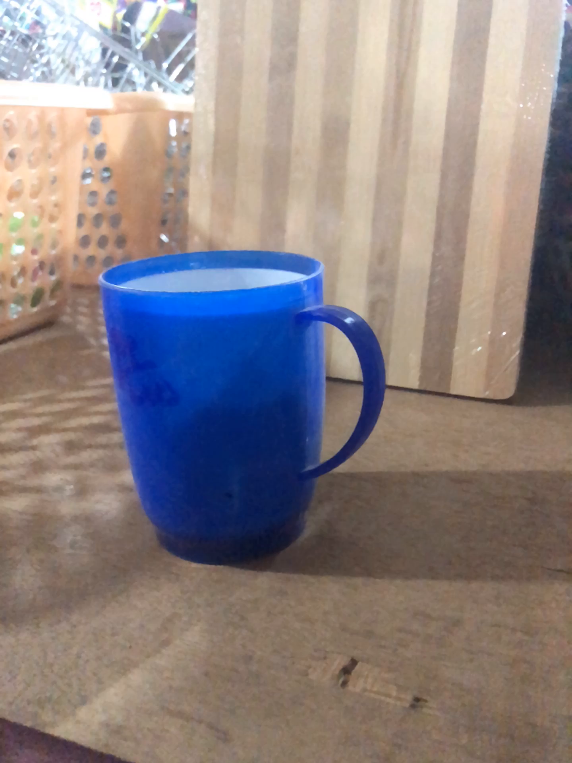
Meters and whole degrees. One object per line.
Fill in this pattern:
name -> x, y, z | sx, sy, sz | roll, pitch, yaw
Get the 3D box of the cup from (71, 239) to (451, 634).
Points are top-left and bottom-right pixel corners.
cup -> -0.005, 0.009, 0.238 | 0.110, 0.110, 0.070 | 9, 23, 28
